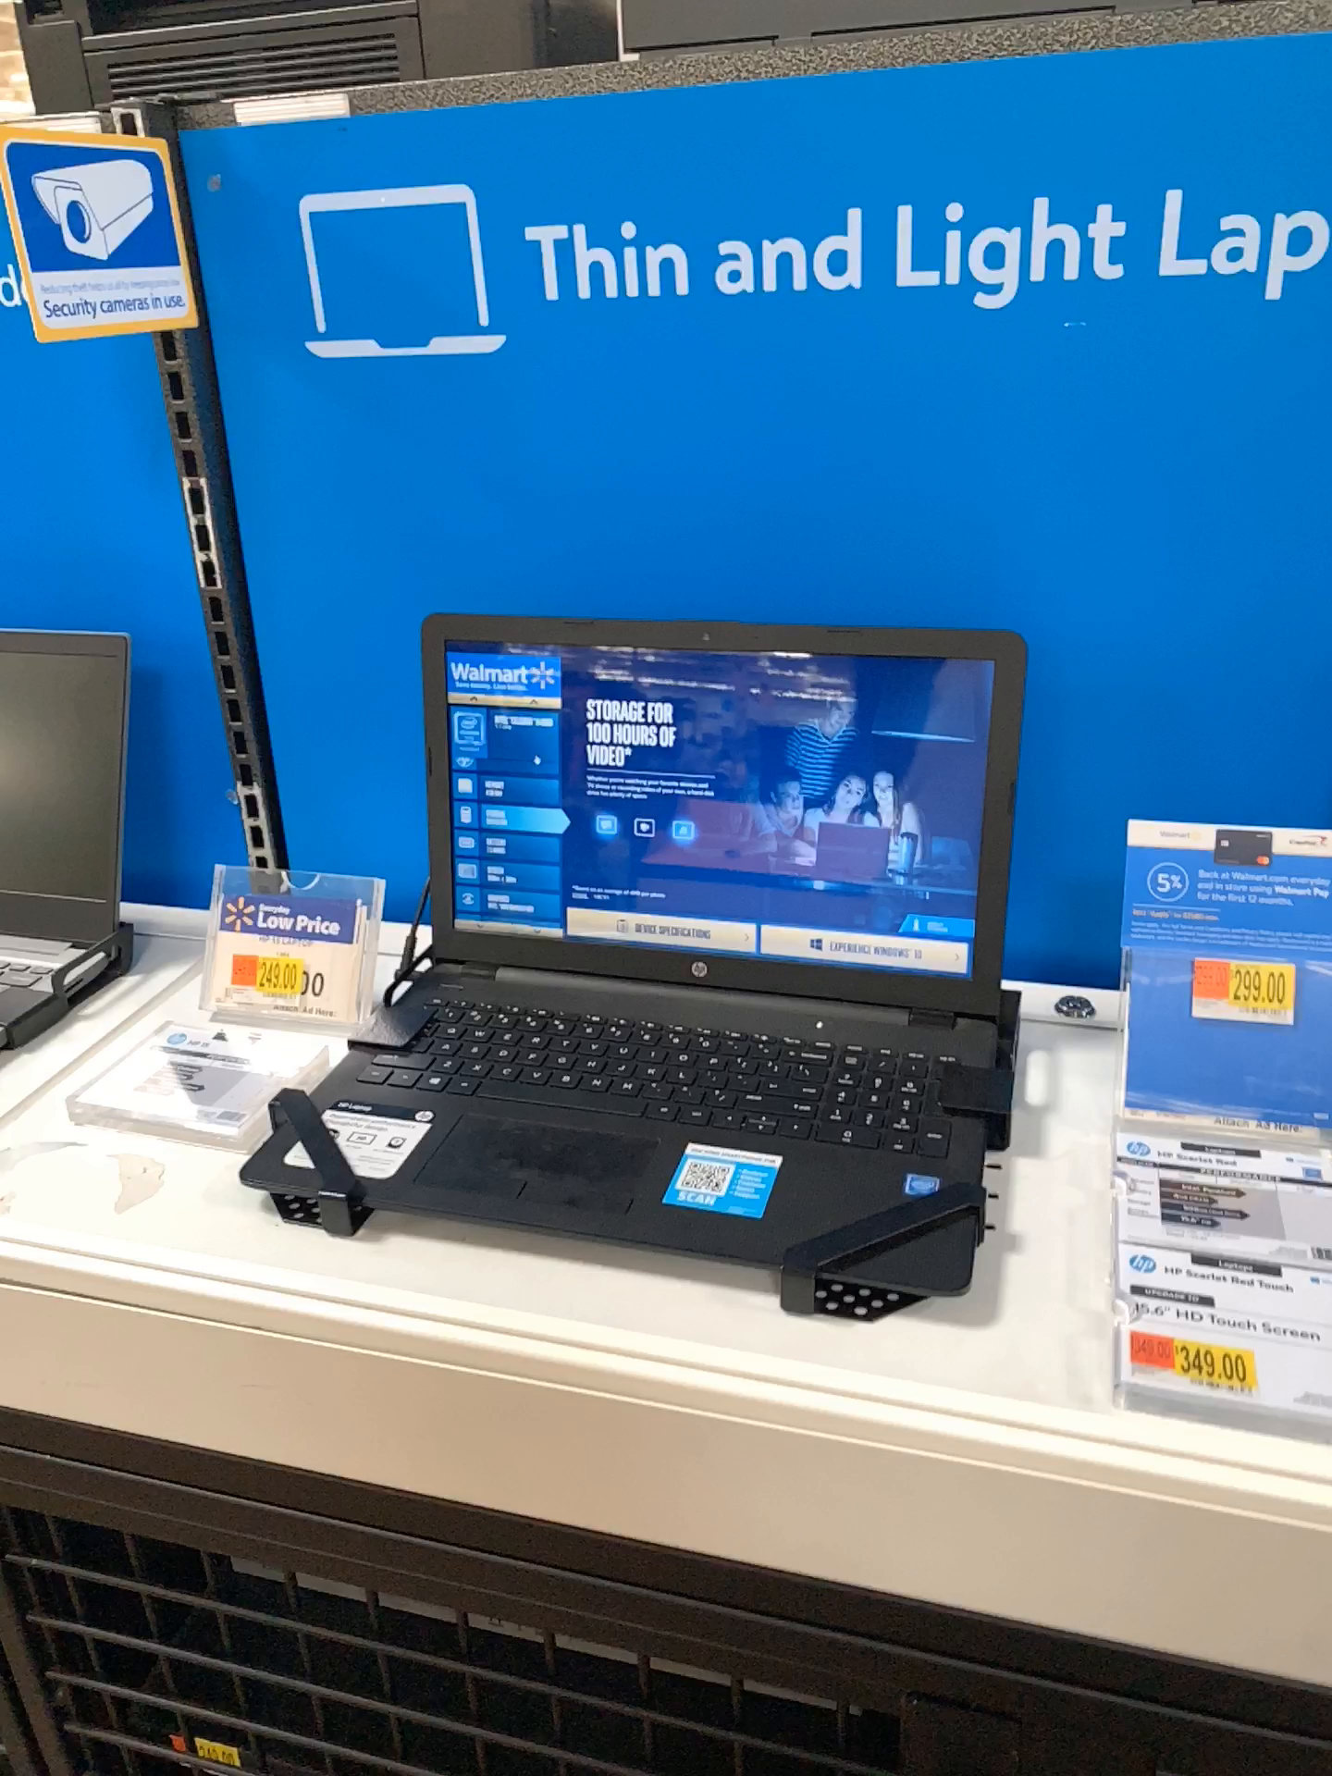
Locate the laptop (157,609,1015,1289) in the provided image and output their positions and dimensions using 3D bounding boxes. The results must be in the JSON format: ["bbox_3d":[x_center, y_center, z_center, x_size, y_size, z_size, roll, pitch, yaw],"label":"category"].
[{"bbox_3d":[-0.011,0.001,0.733,0.363,0.225,0.287,4,26,15],"label":"laptop"}]
